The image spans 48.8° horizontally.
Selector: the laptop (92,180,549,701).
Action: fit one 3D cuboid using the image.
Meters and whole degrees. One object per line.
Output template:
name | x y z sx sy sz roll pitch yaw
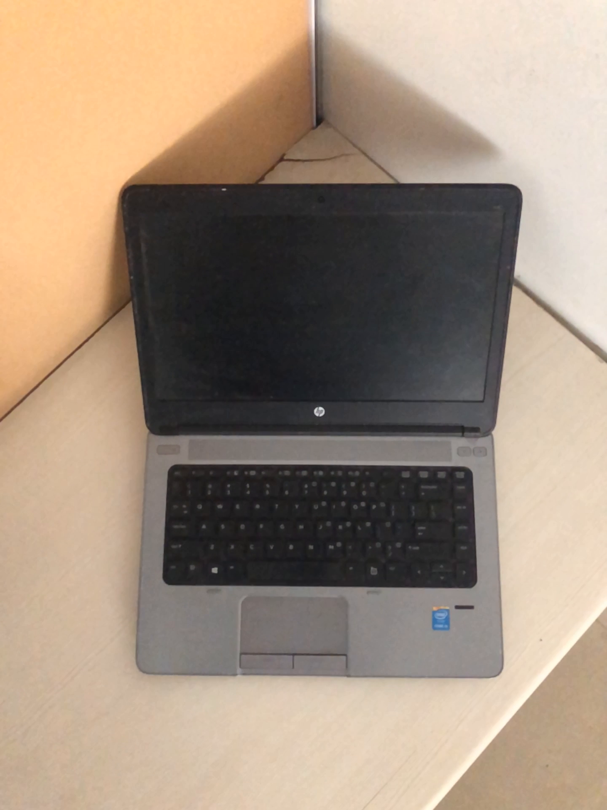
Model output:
laptop | 0.016 0.026 0.563 0.316 0.126 0.391 1 78 2
